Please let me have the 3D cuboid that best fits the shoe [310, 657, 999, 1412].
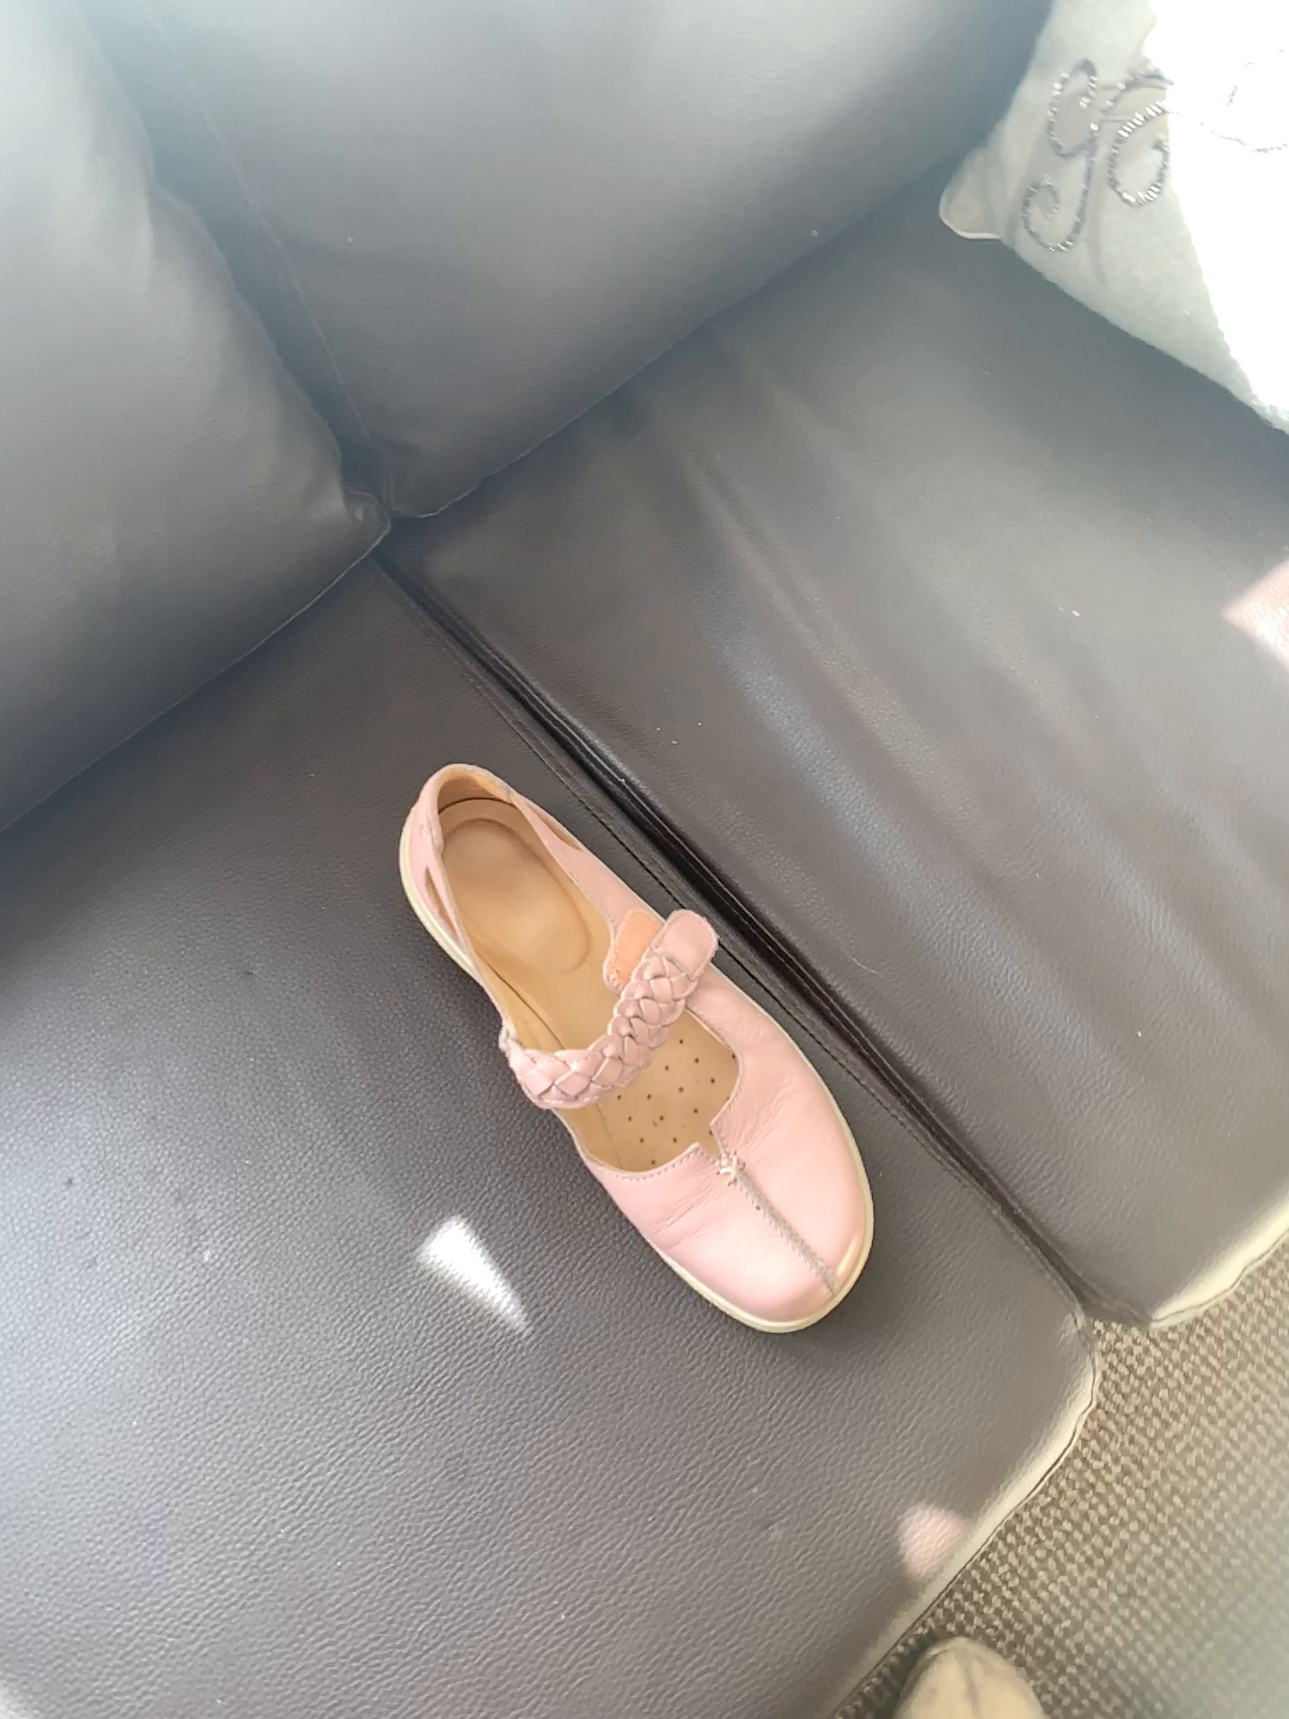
[{"bbox_3d":[-0.003,0.065,0.508,0.104,0.100,0.261,-36,73,-11],"label":"shoe"}]
